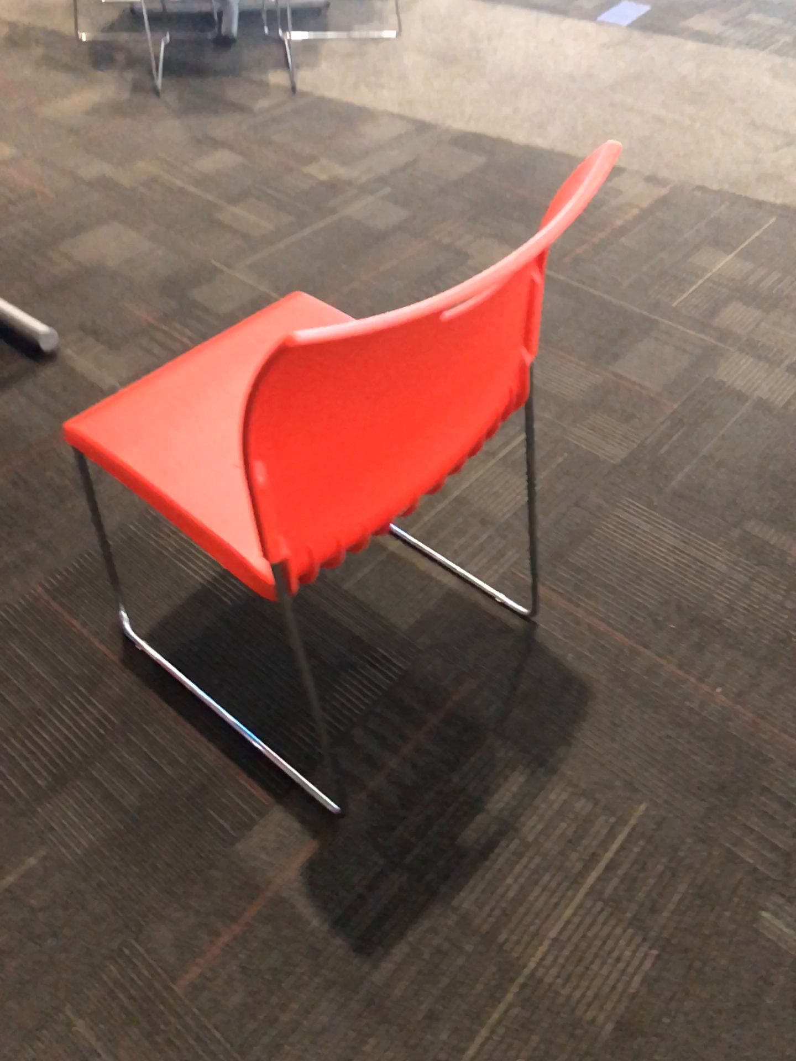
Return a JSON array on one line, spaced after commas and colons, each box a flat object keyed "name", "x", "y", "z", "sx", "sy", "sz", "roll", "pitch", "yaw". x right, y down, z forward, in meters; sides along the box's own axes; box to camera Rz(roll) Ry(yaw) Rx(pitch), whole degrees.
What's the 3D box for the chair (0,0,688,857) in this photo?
[{"name": "chair", "x": -0.126, "y": -0.140, "z": 1.149, "sx": 0.612, "sy": 0.766, "sz": 0.561, "roll": 32, "pitch": 54, "yaw": 27}]
